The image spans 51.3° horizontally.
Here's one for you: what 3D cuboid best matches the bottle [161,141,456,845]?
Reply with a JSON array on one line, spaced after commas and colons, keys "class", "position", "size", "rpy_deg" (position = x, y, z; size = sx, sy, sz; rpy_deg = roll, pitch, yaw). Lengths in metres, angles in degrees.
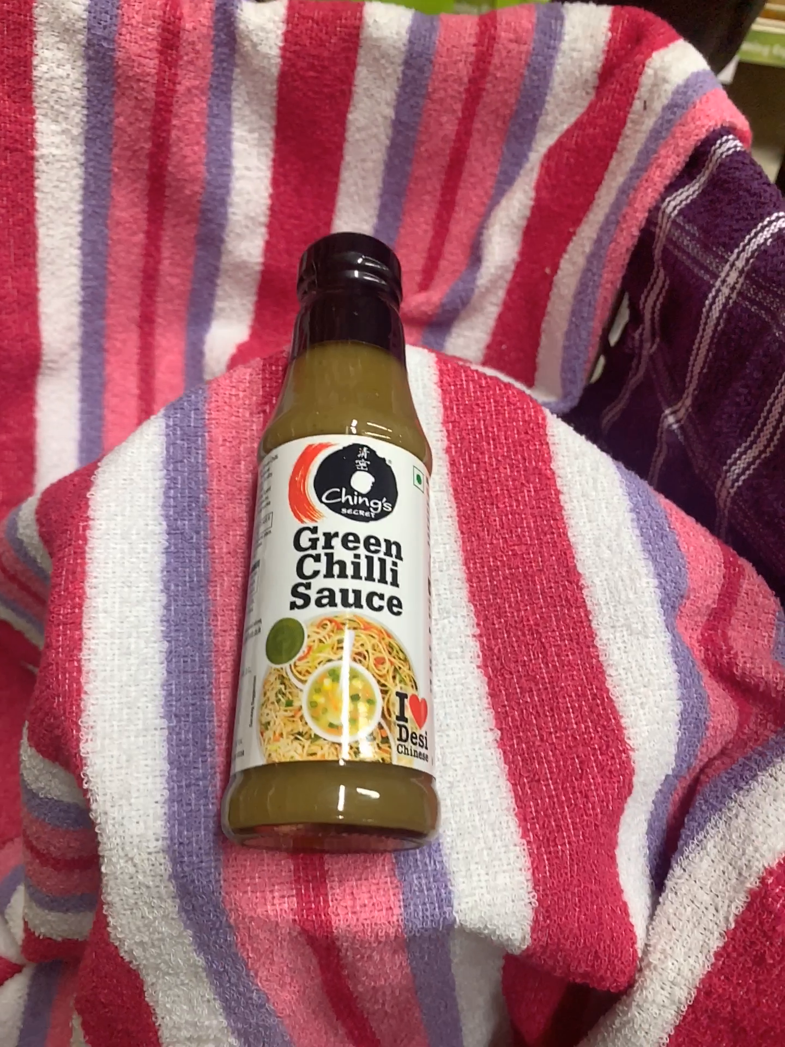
[{"class": "bottle", "position": [-0.017, -0.015, 0.202], "size": [0.050, 0.050, 0.170], "rpy_deg": [1, 61, -4]}]
